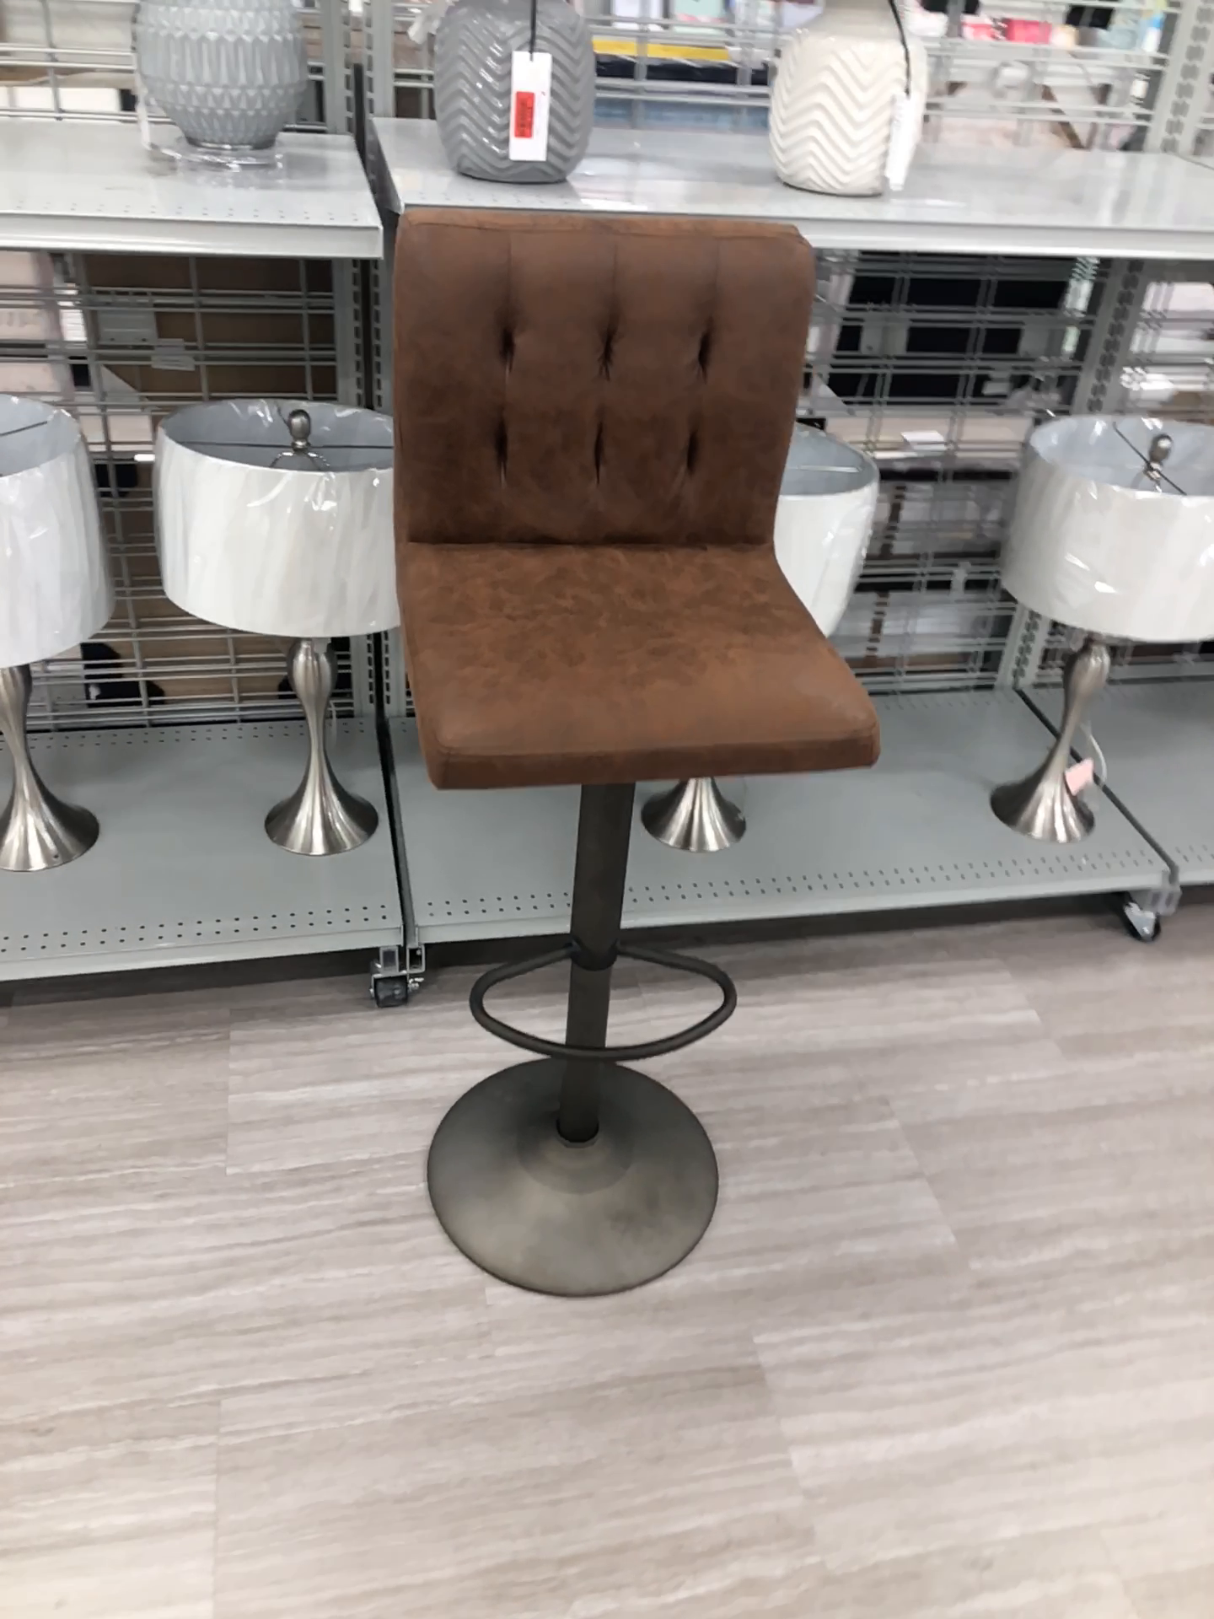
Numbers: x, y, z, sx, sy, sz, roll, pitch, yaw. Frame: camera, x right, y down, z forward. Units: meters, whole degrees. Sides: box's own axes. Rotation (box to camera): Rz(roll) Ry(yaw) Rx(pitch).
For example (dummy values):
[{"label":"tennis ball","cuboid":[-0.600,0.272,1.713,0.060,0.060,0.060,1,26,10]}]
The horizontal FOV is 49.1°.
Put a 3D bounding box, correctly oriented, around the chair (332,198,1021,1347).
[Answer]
[{"label":"chair","cuboid":[-0.015,0.003,1.412,0.474,1.102,0.470,-3,35,-11]}]
